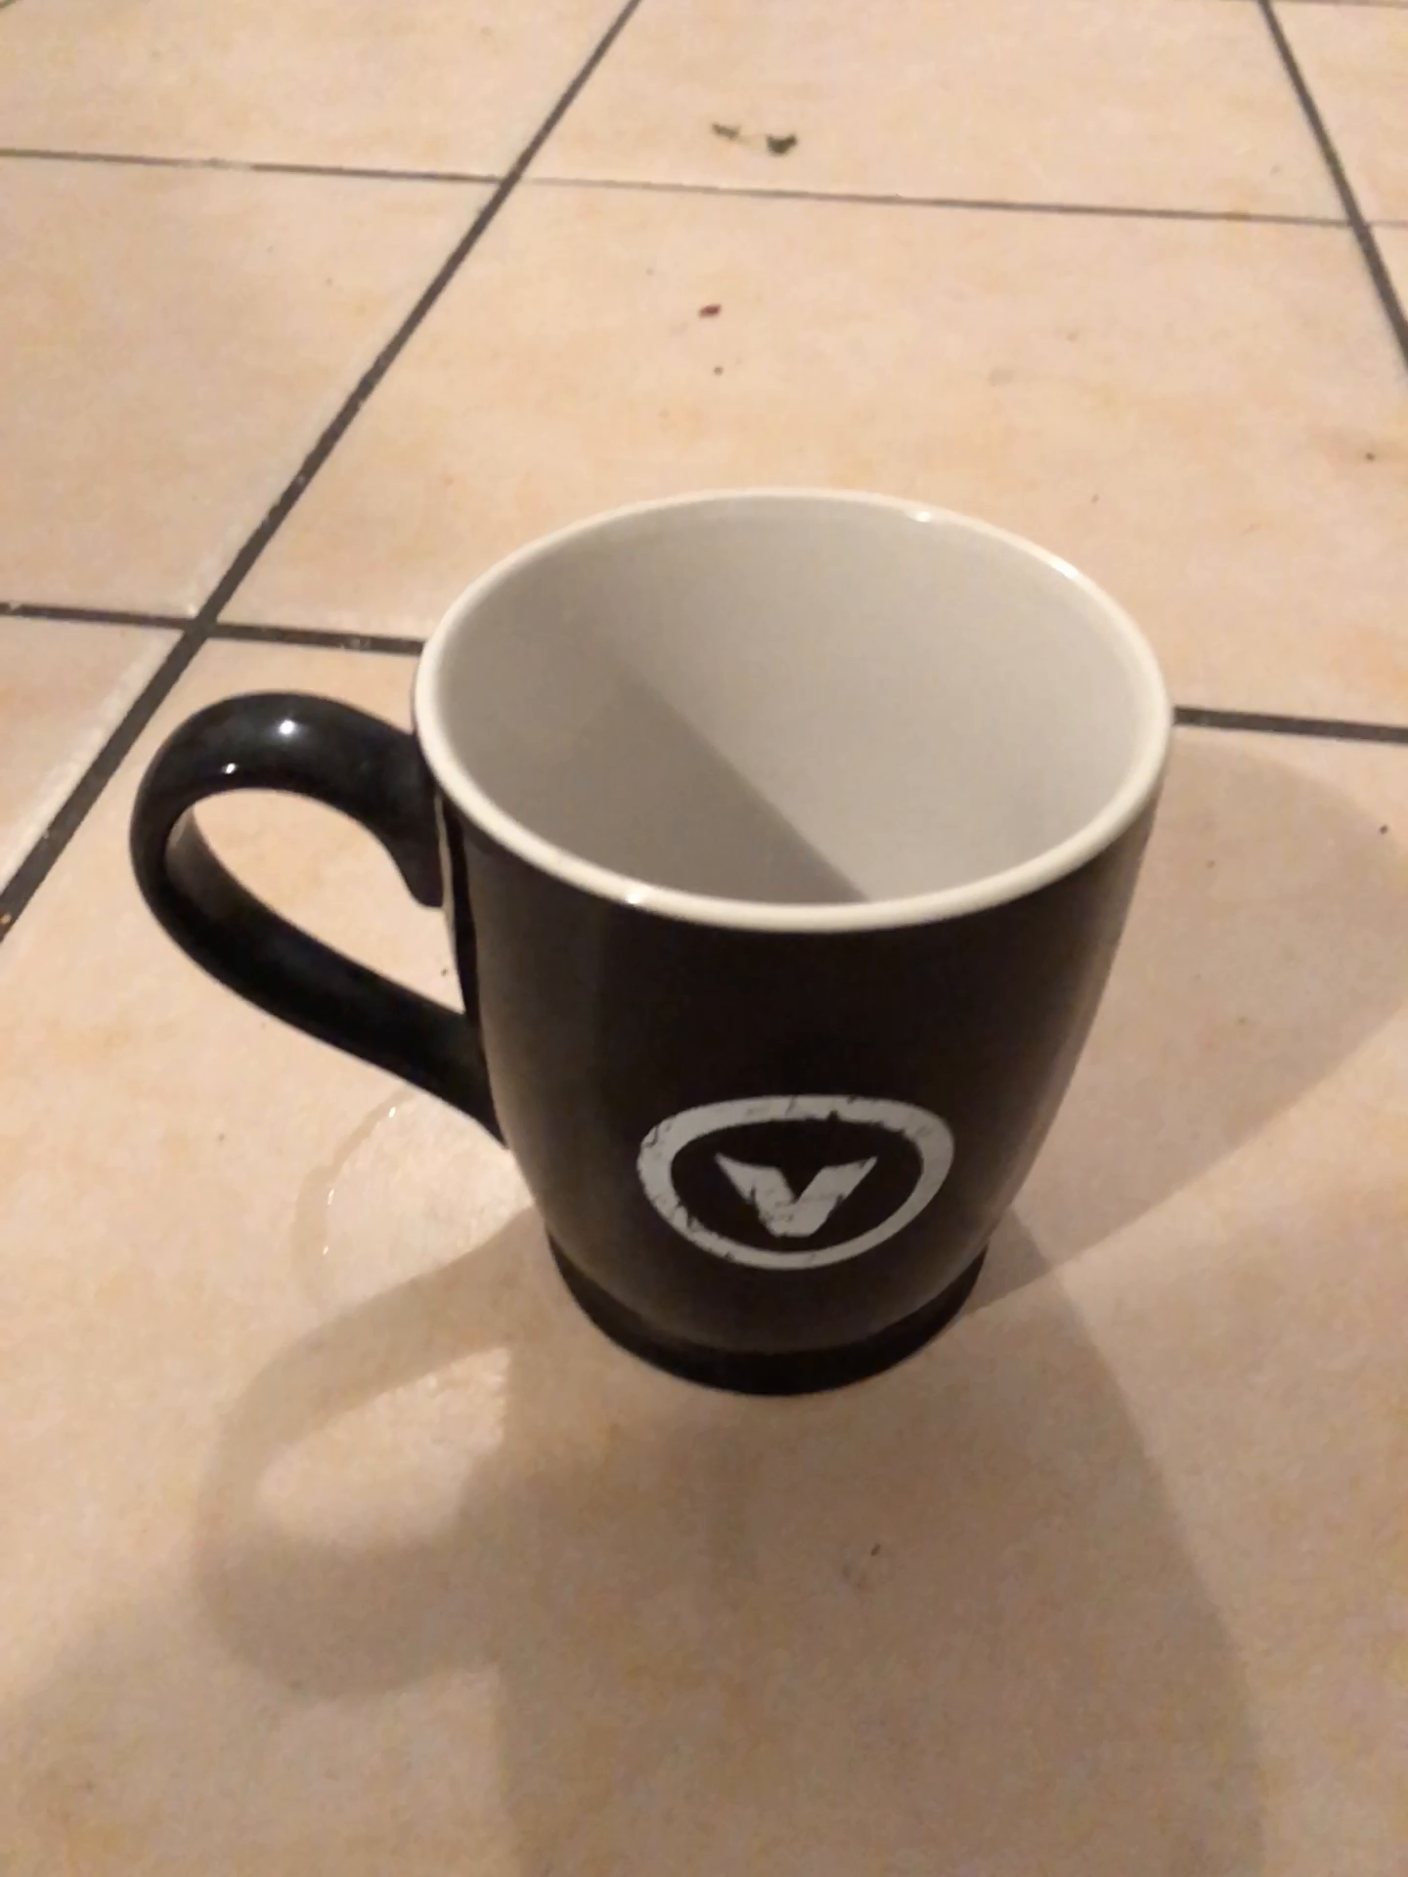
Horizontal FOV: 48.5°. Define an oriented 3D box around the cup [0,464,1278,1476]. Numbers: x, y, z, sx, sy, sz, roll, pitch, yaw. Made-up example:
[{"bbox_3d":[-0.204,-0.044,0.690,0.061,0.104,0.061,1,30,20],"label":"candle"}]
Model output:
[{"bbox_3d":[-0.010,0.003,0.229,0.140,0.100,0.101,2,43,3],"label":"cup"}]
